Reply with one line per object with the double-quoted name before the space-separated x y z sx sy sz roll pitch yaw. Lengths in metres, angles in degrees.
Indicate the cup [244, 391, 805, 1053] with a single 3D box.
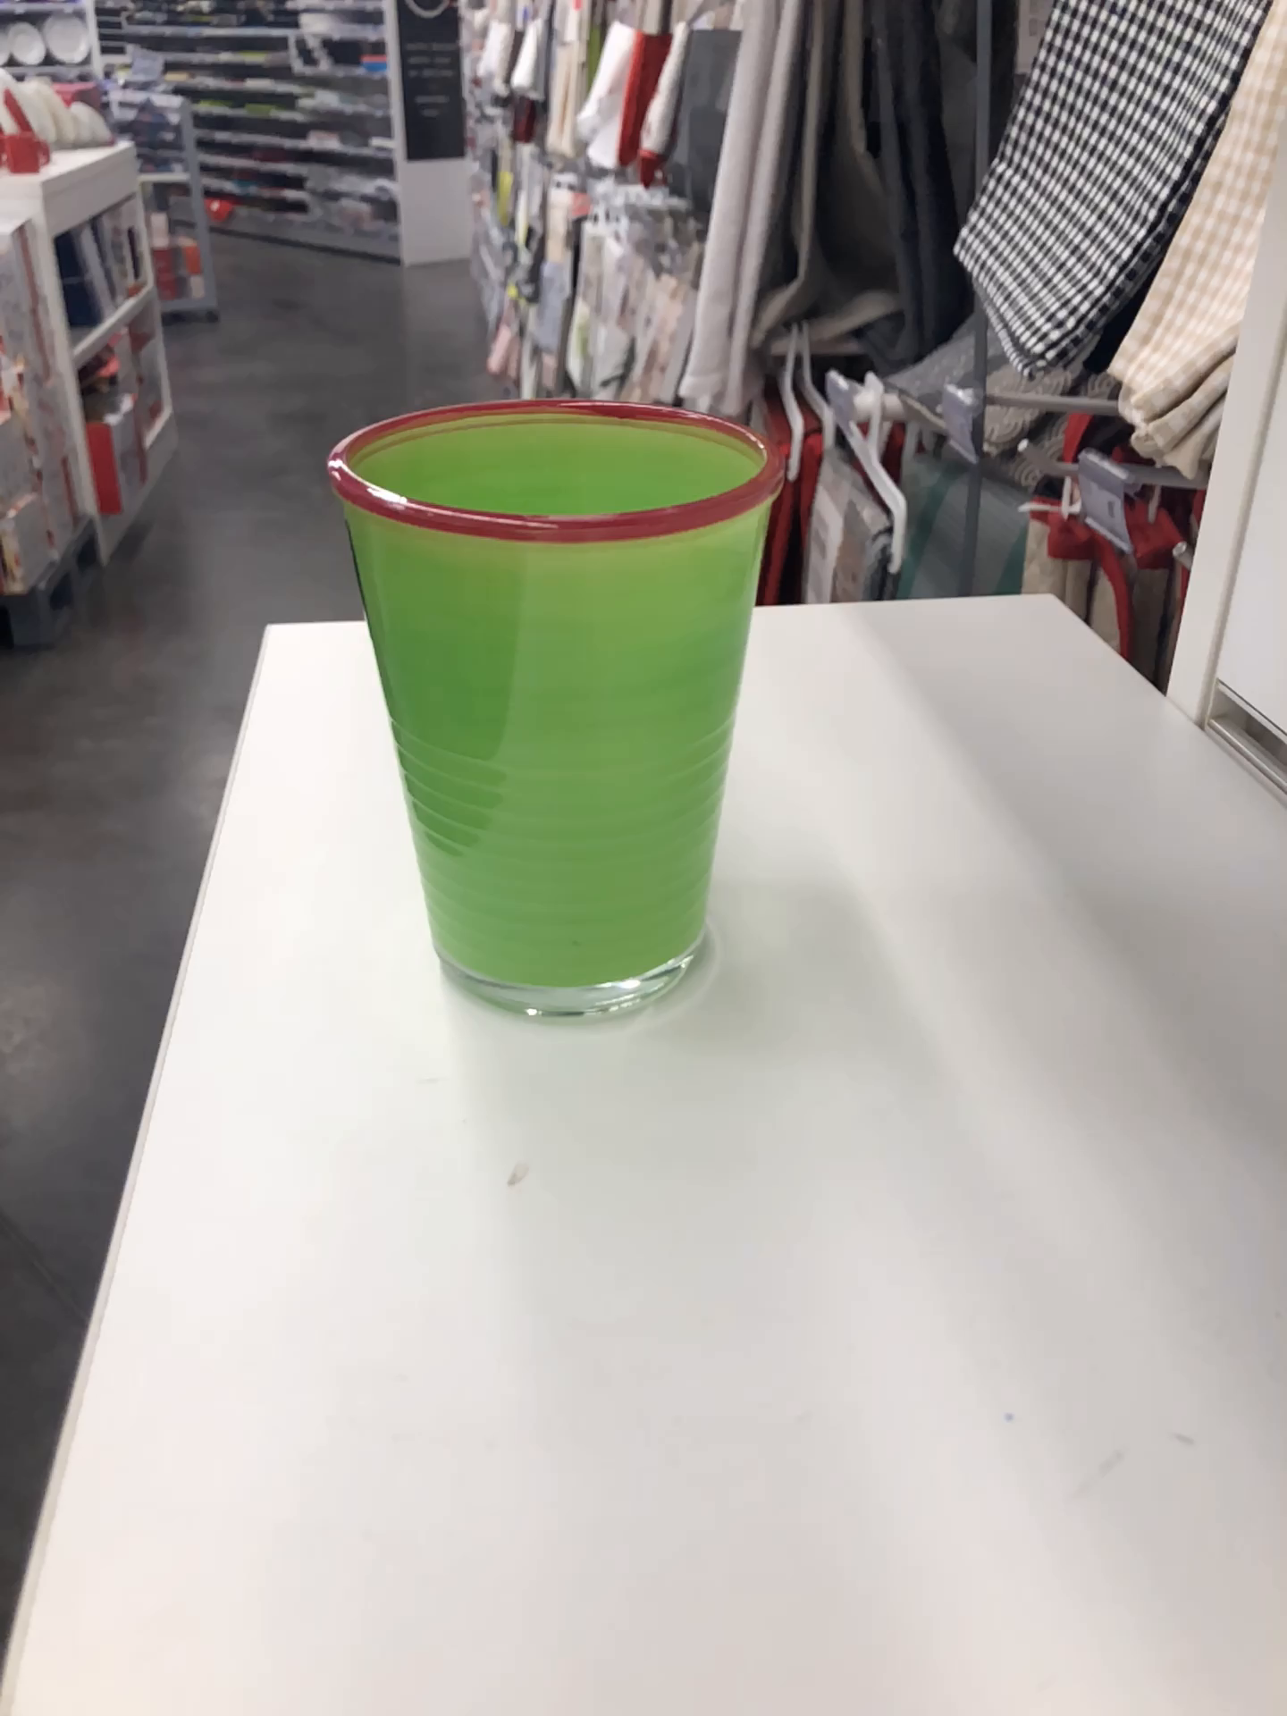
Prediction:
"cup" -0.019 -0.029 0.270 0.082 0.098 0.087 1 29 0
